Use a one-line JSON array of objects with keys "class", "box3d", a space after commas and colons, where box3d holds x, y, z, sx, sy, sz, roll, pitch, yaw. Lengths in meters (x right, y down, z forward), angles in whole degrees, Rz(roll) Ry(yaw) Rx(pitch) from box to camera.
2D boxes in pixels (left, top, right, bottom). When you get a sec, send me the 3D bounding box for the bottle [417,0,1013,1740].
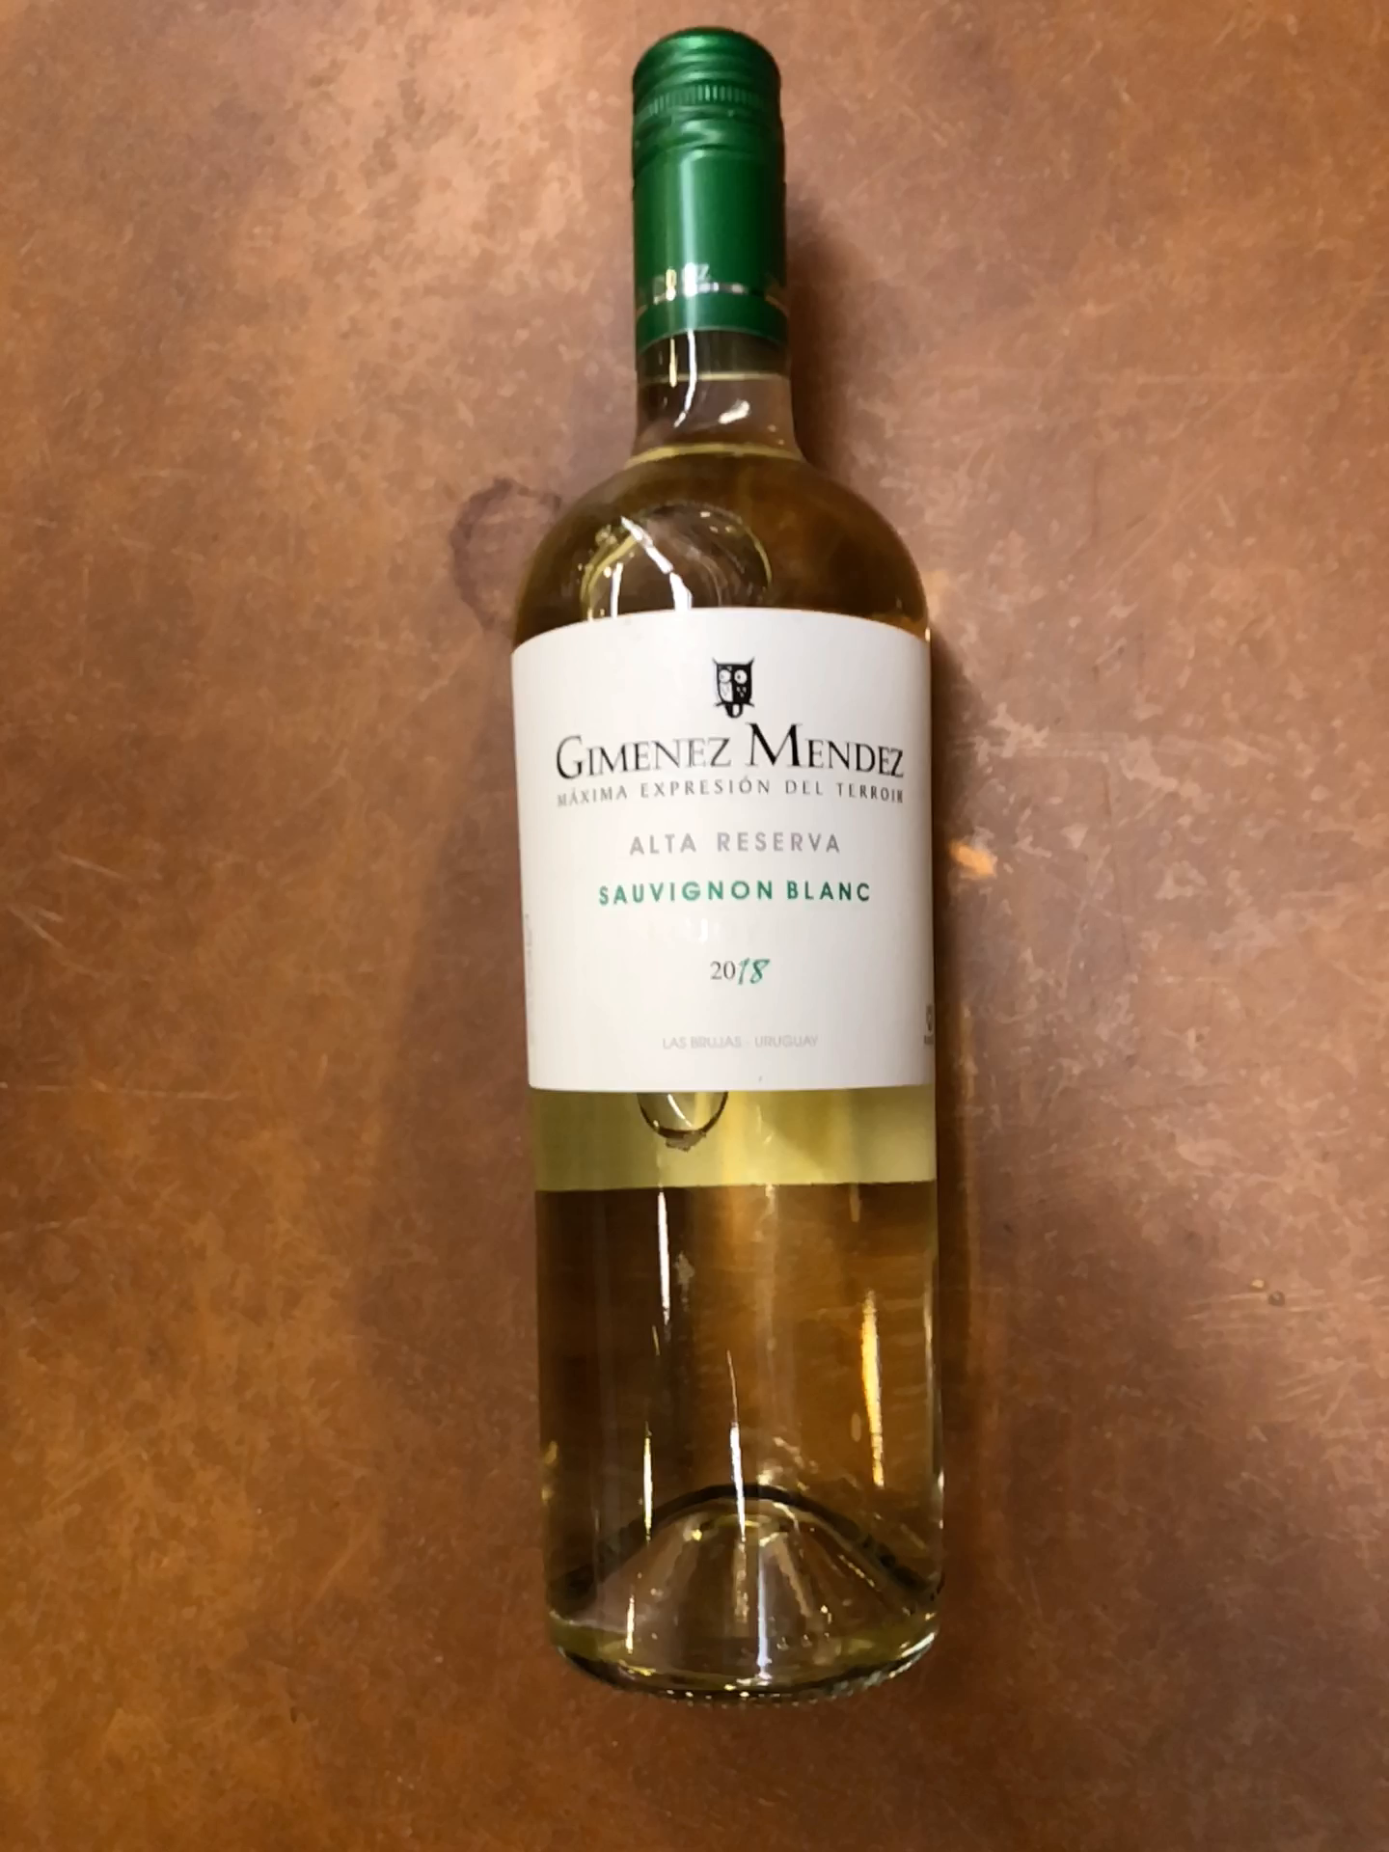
[{"class": "bottle", "box3d": [0.004, -0.024, 0.279, 0.090, 0.050, 0.300, -3, 85, 14]}]
